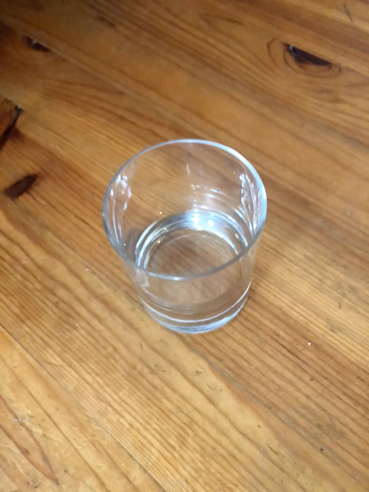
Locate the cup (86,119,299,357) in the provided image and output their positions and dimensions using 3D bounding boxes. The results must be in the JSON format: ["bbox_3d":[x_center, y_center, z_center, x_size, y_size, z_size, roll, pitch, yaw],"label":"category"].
[{"bbox_3d":[0.003,0.000,0.239,0.082,0.090,0.087,-2,62,4],"label":"cup"}]
